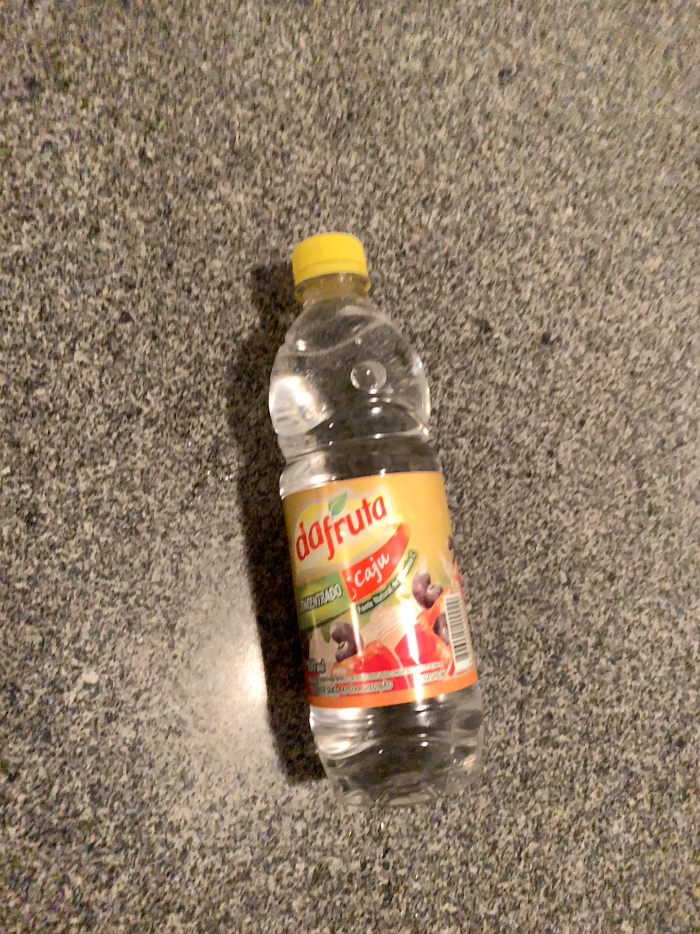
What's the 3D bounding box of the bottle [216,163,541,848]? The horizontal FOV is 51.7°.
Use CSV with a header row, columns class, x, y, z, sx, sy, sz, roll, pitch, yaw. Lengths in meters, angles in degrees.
class,x,y,z,sx,sy,sz,roll,pitch,yaw
bottle,0.004,0.007,0.280,0.070,0.060,0.230,-6,80,-23
